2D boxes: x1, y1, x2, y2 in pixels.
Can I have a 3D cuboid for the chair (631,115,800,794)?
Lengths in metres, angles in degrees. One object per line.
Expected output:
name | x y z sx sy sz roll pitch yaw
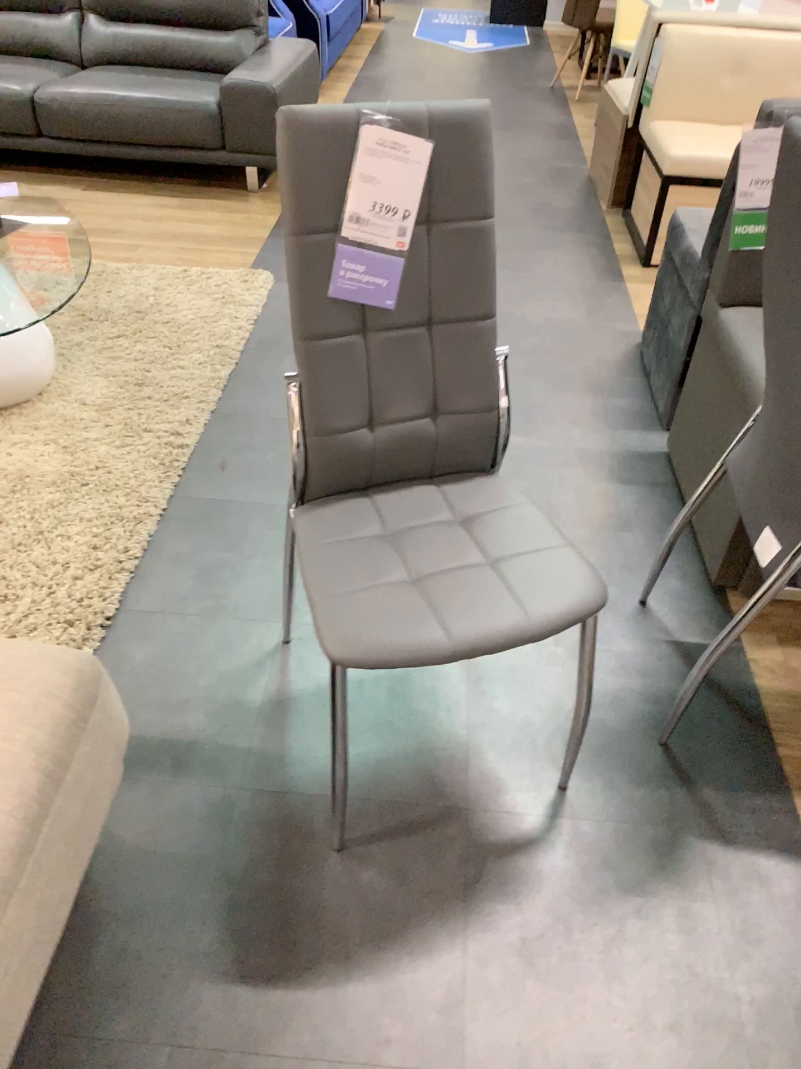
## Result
chair | 0.808 -0.081 1.403 0.550 1.024 0.452 7 40 4

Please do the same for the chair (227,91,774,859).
chair | 0.051 -0.058 1.285 0.470 1.024 0.533 -10 41 -15
